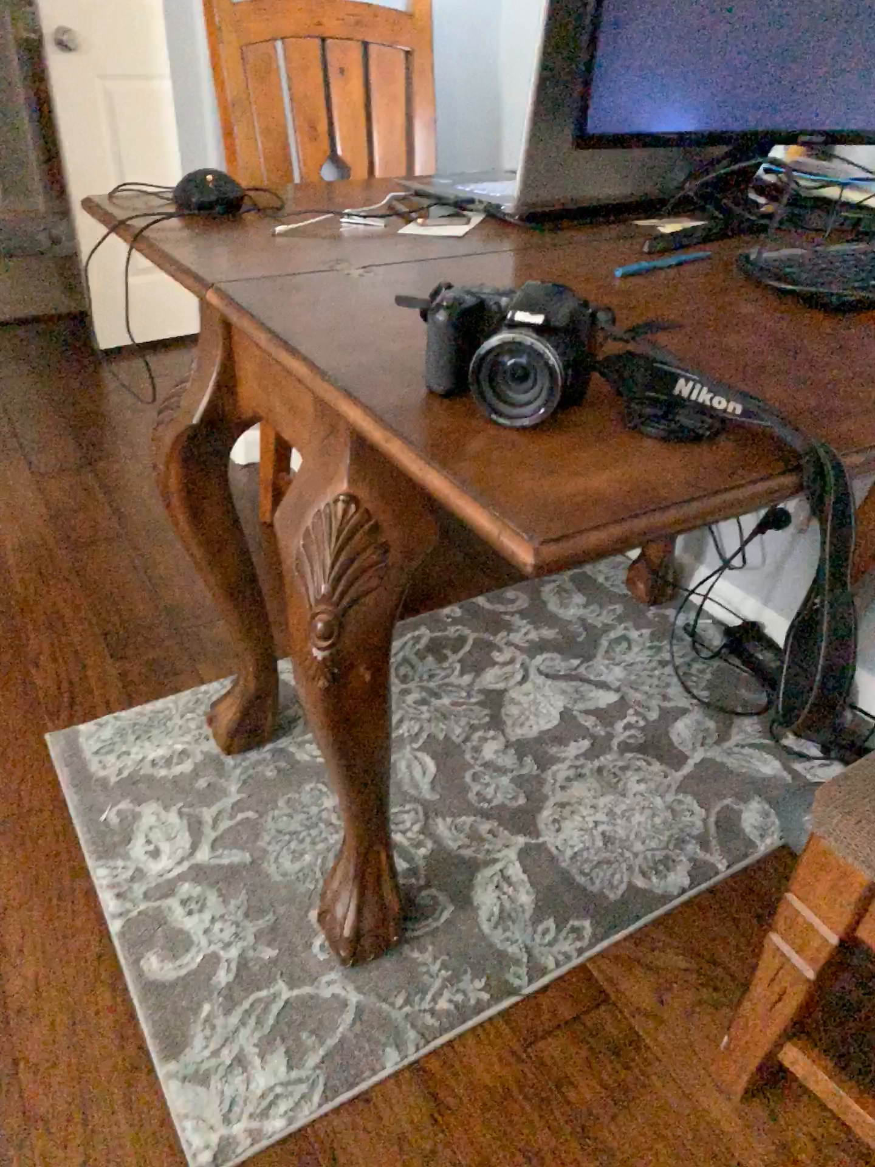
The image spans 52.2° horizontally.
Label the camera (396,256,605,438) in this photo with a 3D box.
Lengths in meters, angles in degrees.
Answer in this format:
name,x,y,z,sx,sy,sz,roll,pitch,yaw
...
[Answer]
name,x,y,z,sx,sy,sz,roll,pitch,yaw
camera,0.042,-0.160,0.592,0.110,0.079,0.091,14,34,17
